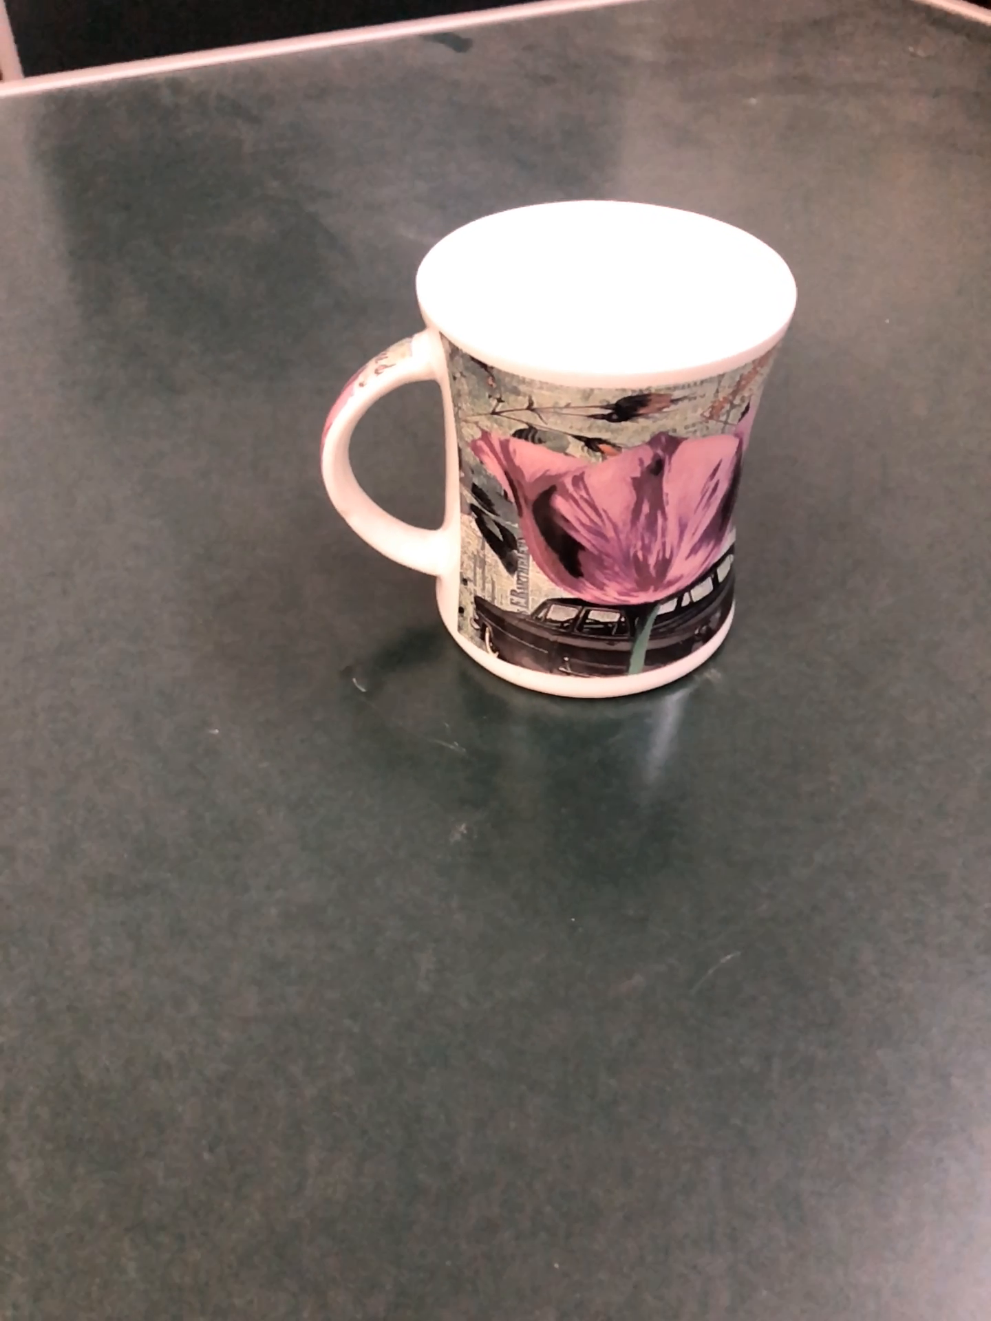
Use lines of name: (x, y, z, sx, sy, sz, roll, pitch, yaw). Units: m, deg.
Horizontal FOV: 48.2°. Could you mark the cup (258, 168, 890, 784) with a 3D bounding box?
cup: (0.010, -0.046, 0.277, 0.120, 0.110, 0.090, -6, 45, -6)
